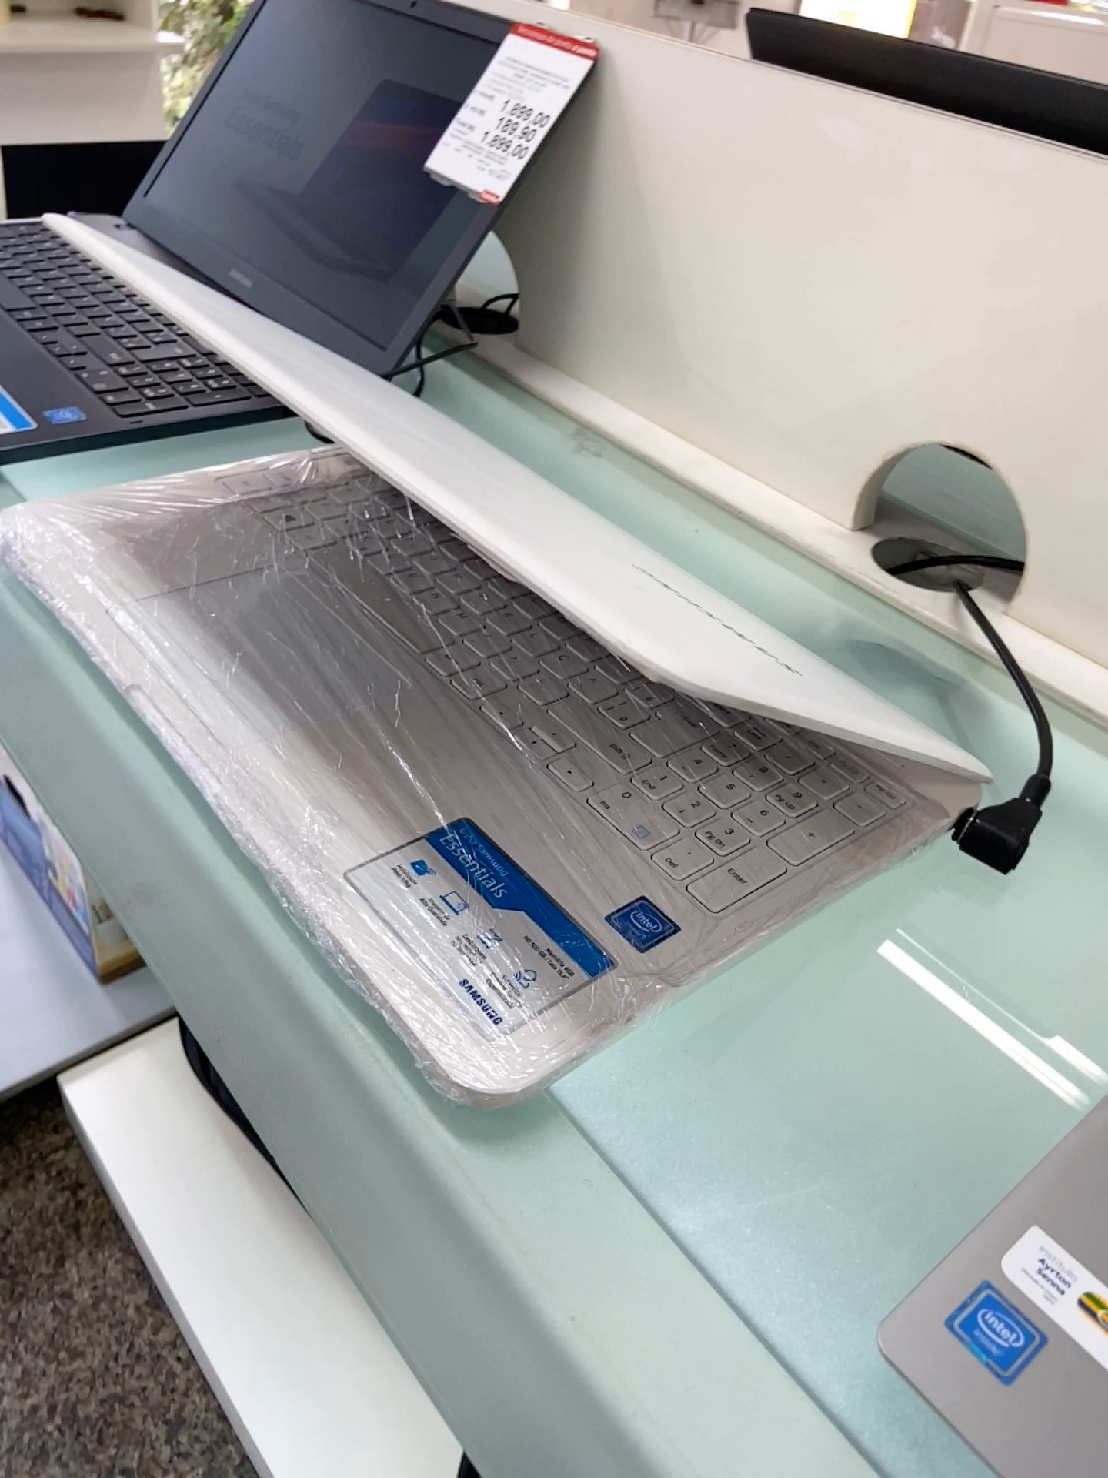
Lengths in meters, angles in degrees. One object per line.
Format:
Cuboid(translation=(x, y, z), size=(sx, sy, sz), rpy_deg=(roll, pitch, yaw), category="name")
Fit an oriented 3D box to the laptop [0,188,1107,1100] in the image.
Cuboid(translation=(-0.041, -0.091, 0.441), size=(0.248, 0.129, 0.373), rpy_deg=(-22, 47, -34), category="laptop")
